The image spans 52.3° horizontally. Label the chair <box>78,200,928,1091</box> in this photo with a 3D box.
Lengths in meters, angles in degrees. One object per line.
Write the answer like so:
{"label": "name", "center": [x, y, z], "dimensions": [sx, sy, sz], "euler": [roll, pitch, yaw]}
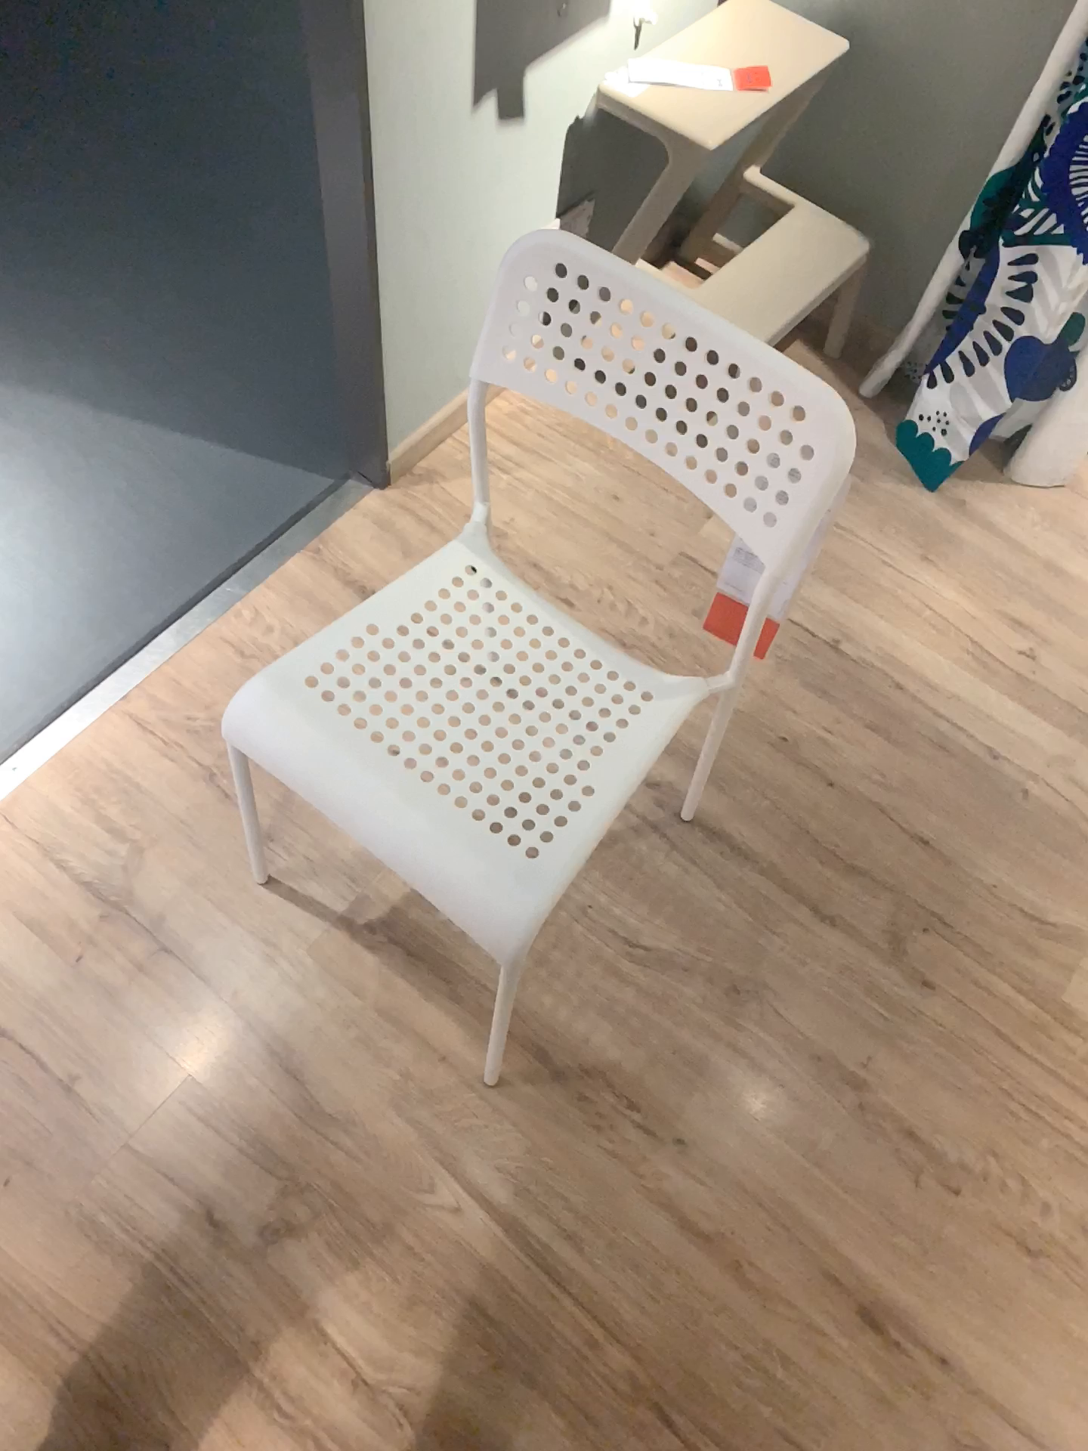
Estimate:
{"label": "chair", "center": [-0.033, -0.045, 1.129], "dimensions": [0.430, 0.609, 0.531], "euler": [35, 63, 14]}
